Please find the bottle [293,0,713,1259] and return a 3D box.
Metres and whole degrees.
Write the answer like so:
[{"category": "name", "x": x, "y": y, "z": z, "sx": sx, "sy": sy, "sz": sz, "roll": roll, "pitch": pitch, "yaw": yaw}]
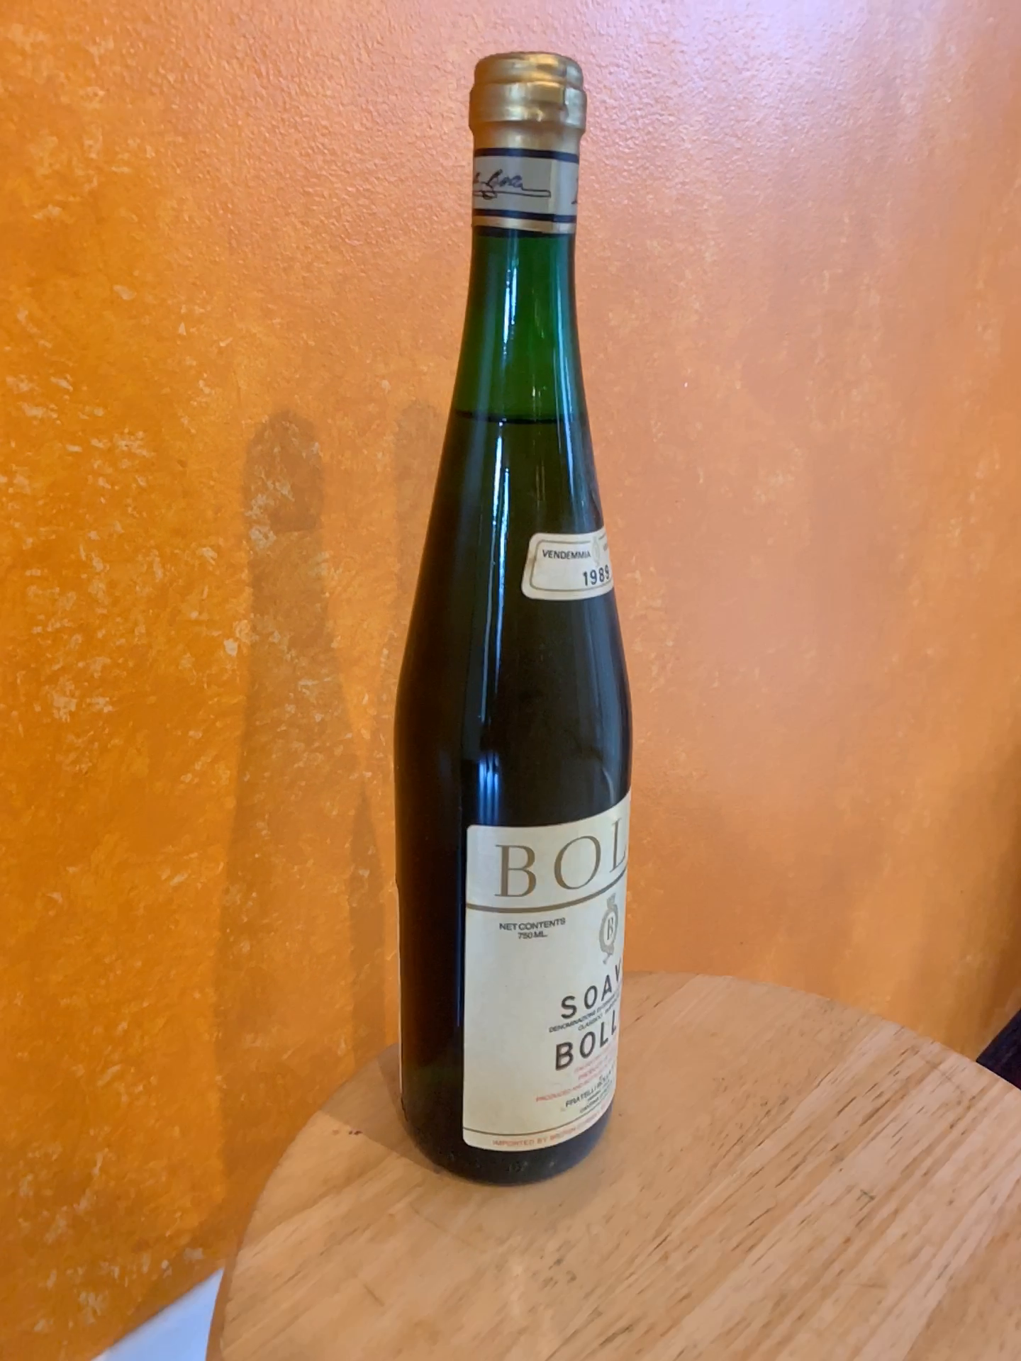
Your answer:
[{"category": "bottle", "x": -0.005, "y": 0.000, "z": 0.318, "sx": 0.070, "sy": 0.338, "sz": 0.080, "roll": 16, "pitch": 24, "yaw": 35}]
